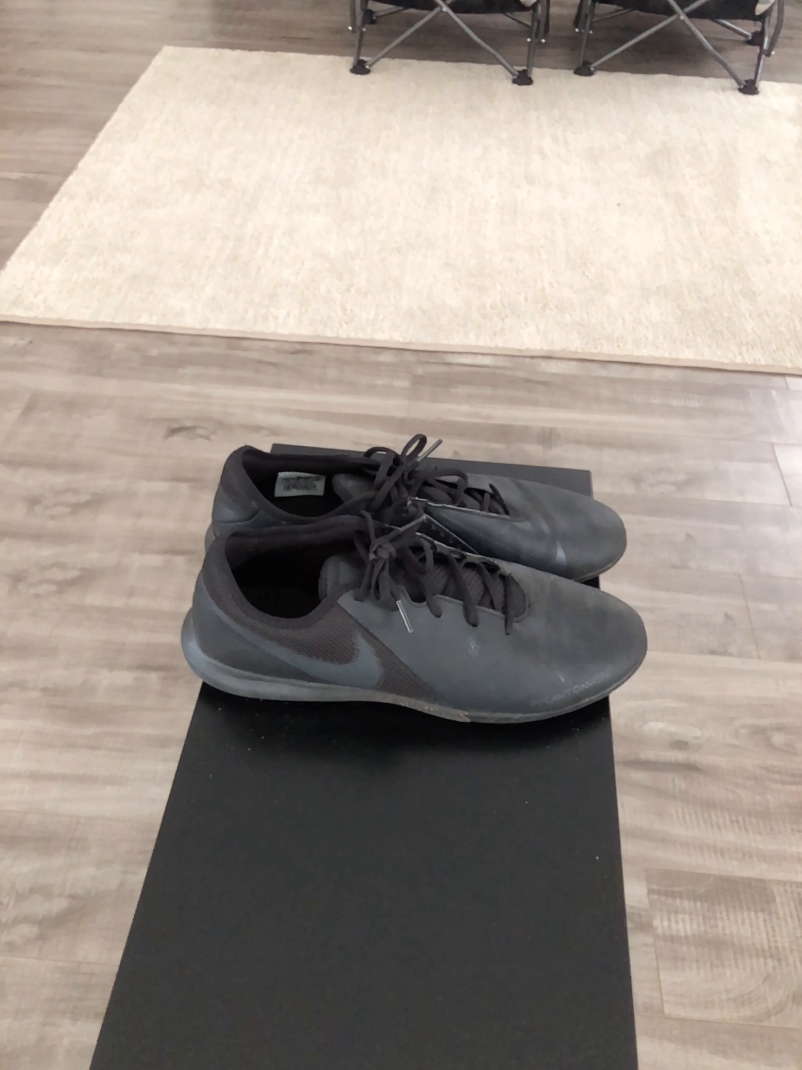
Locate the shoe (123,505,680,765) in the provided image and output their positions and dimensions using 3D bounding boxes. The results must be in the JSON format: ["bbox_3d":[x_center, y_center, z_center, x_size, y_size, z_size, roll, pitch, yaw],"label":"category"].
[{"bbox_3d":[0.000,0.062,0.540,0.294,0.110,0.100,2,46,0],"label":"shoe"}]

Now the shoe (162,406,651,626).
[{"bbox_3d":[0.002,-0.013,0.605,0.294,0.110,0.100,0,46,-2],"label":"shoe"}]
